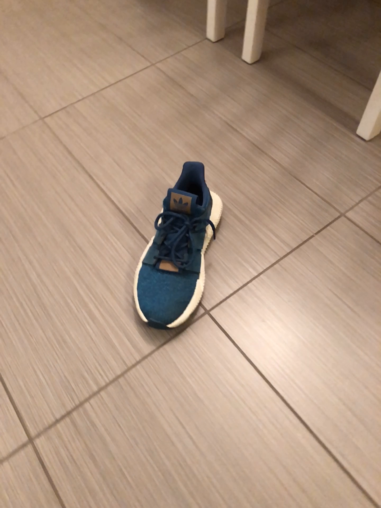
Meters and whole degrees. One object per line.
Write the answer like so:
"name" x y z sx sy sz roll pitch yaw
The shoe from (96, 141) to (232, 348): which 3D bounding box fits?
"shoe" -0.023 -0.024 0.649 0.111 0.120 0.291 11 58 12
